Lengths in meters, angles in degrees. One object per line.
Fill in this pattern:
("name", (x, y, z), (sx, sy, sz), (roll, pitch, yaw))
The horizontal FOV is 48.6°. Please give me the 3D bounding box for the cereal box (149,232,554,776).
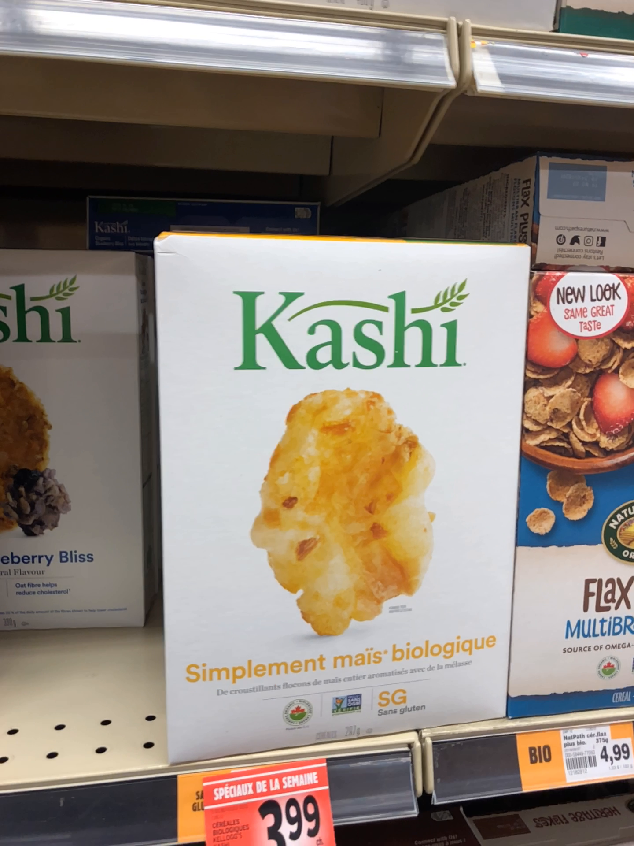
("cereal box", (0.014, 0.039, 0.386), (0.200, 0.269, 0.060), (-1, 11, -13))
